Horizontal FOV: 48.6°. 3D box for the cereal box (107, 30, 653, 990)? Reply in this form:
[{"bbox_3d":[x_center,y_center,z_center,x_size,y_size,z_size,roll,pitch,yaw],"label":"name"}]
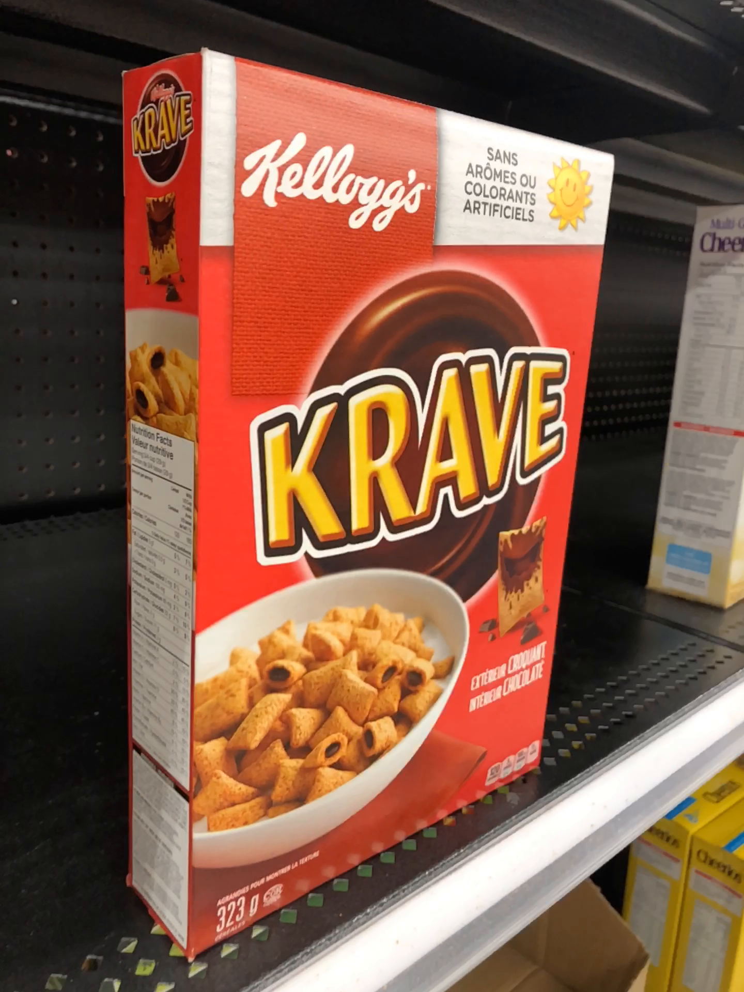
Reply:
[{"bbox_3d":[0.011,0.005,0.318,0.210,0.279,0.050,-8,18,-41],"label":"cereal box"}]
